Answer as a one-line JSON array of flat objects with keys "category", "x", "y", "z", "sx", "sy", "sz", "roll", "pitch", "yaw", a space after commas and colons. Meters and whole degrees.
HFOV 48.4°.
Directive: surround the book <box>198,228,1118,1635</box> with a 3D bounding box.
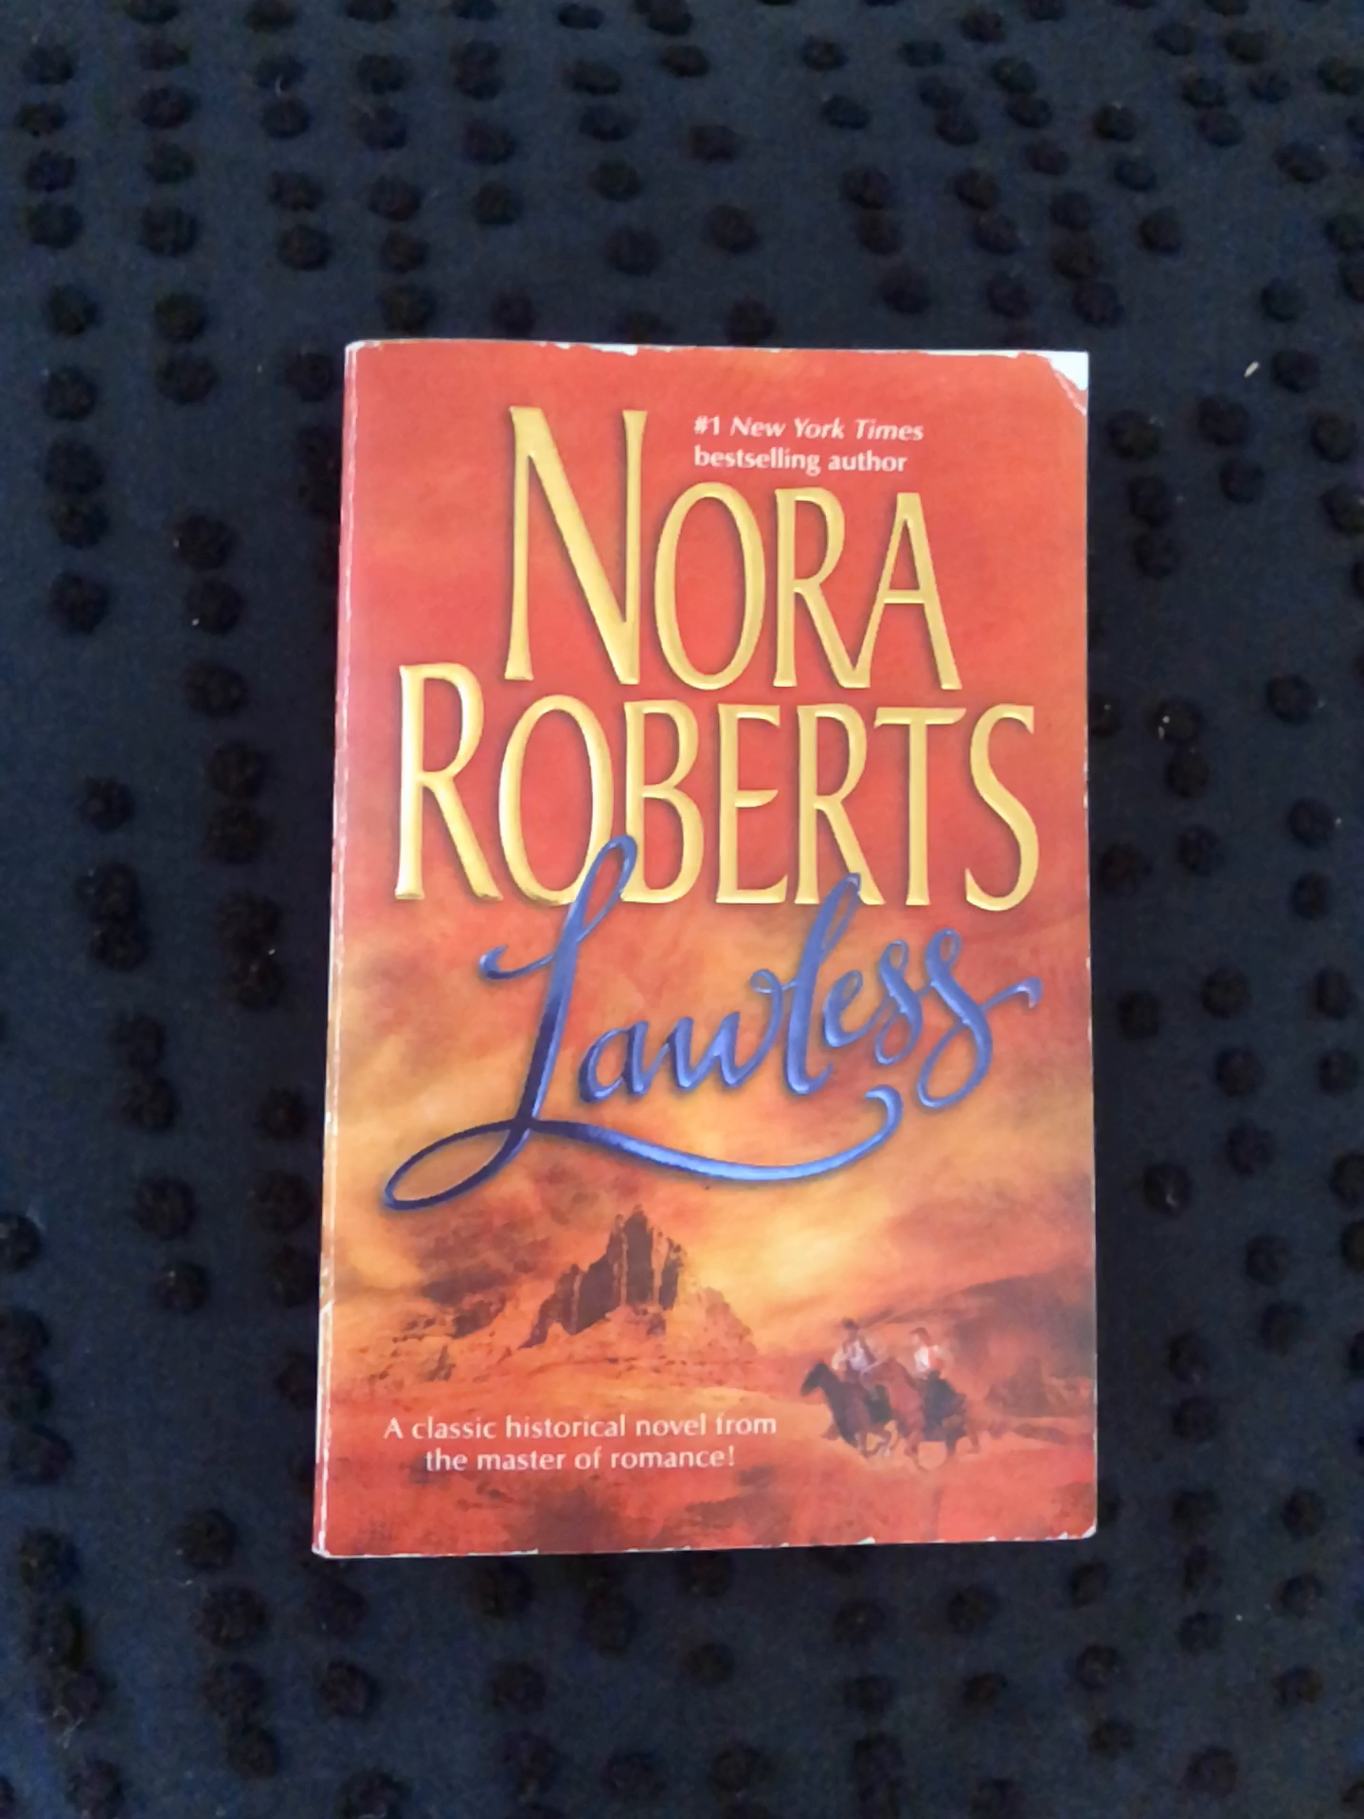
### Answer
[{"category": "book", "x": -0.004, "y": 0.001, "z": 0.224, "sx": 0.120, "sy": 0.040, "sz": 0.180, "roll": 1, "pitch": 84, "yaw": -10}]
